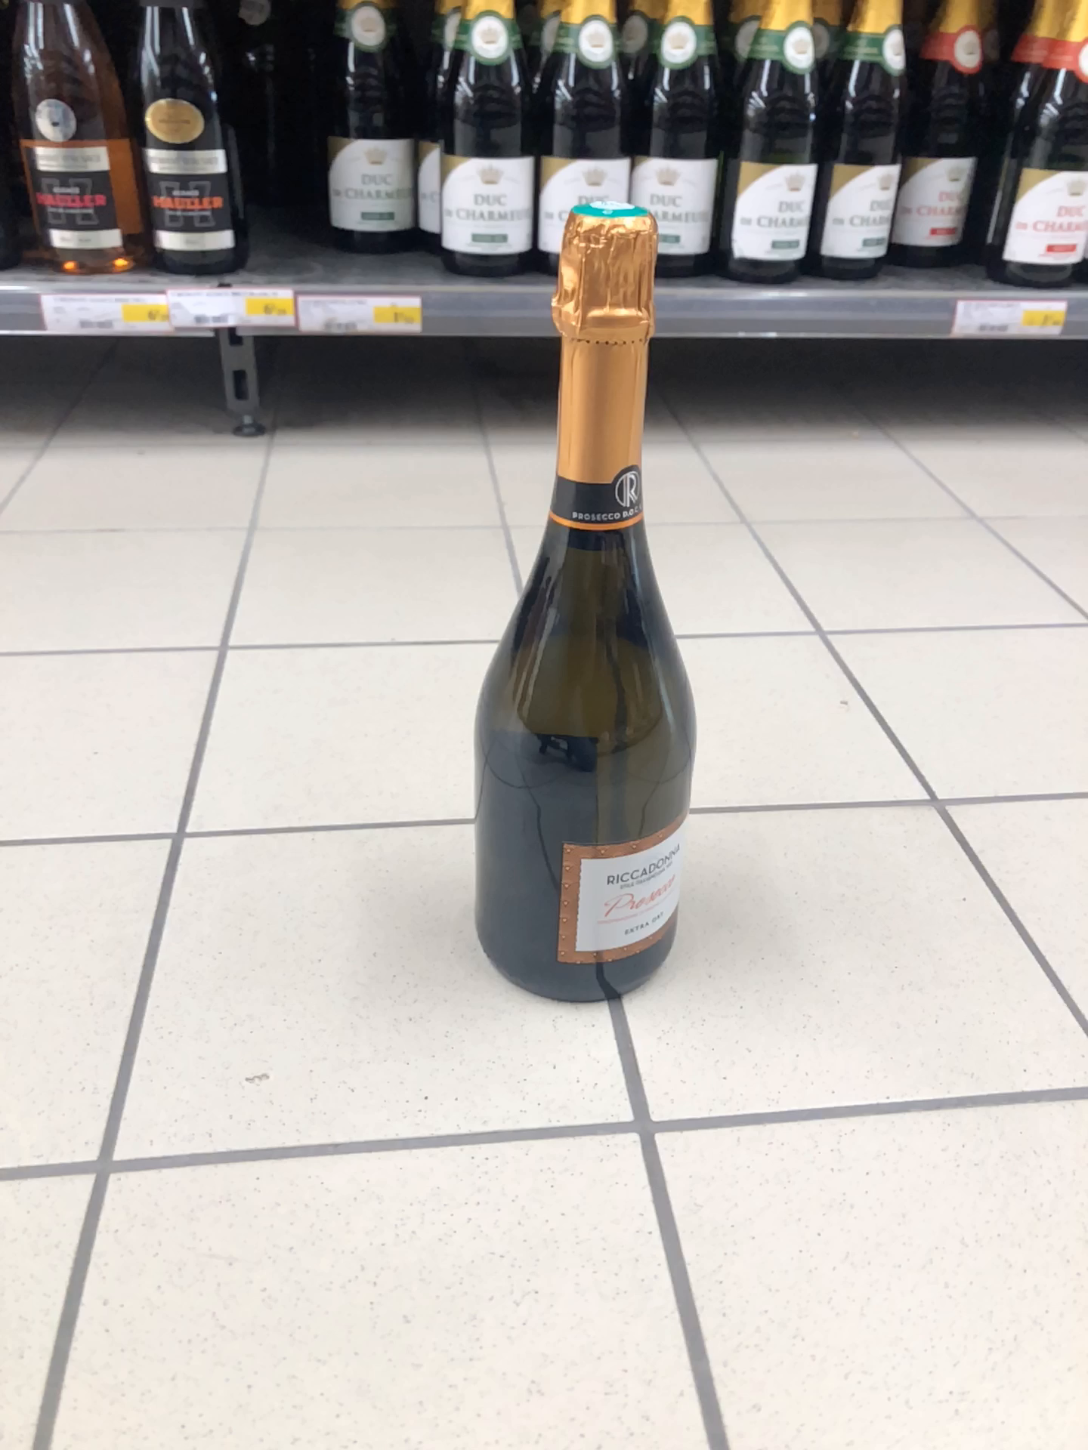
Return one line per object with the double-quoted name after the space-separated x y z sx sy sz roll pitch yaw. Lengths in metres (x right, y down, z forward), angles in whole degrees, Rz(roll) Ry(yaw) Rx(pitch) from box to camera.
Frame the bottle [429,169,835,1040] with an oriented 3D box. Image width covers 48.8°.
0.024 -0.040 0.477 0.100 0.318 0.090 -21 37 -34 "bottle"
